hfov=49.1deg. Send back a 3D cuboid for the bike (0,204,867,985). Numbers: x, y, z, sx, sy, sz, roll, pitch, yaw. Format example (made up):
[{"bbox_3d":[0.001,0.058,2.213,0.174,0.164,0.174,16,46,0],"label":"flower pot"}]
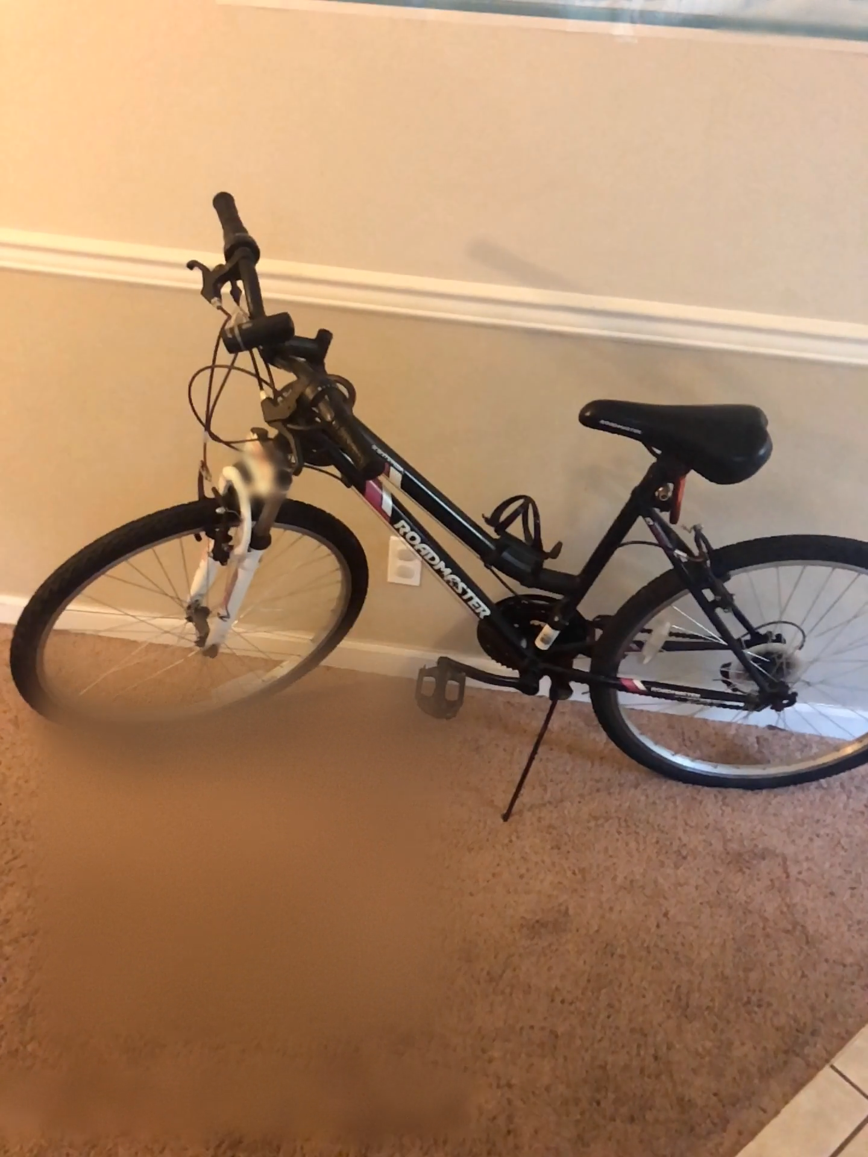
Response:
[{"bbox_3d":[0.141,0.056,1.729,1.864,1.177,0.683,2,31,-3],"label":"bike"}]
